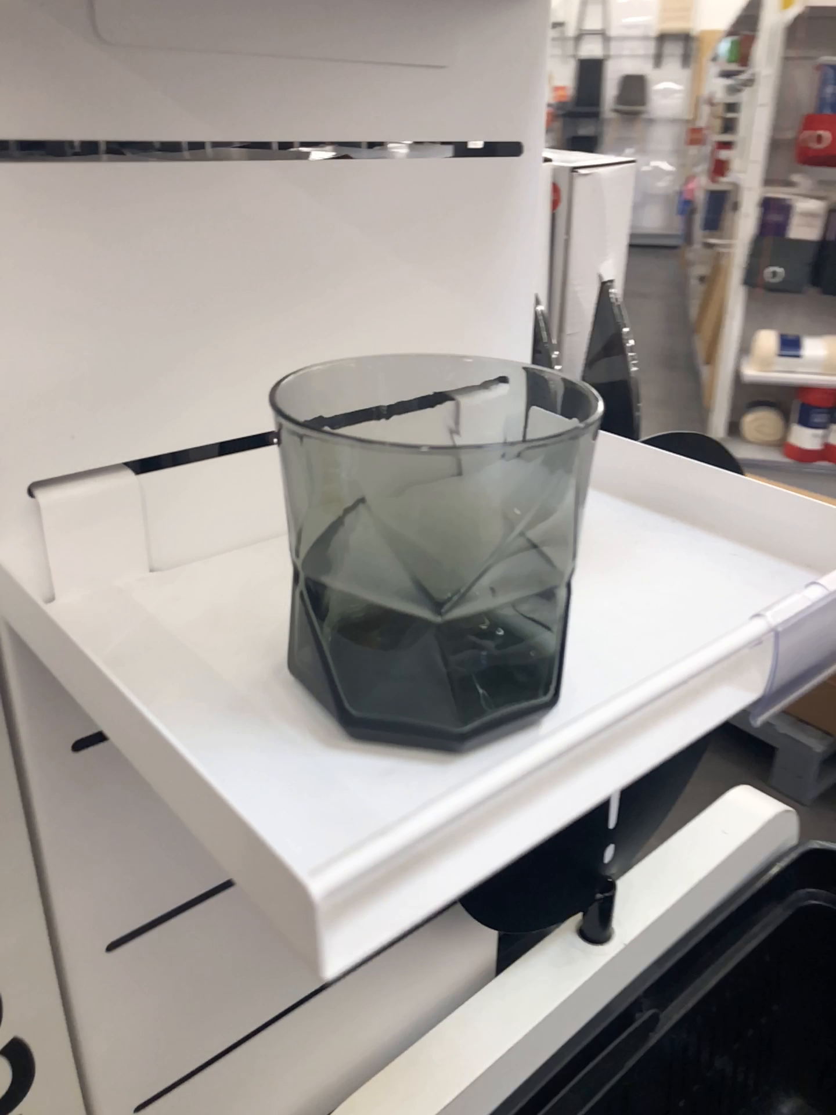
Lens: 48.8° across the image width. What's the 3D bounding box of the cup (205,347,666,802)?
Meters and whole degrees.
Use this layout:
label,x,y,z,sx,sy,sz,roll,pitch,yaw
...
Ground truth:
label,x,y,z,sx,sy,sz,roll,pitch,yaw
cup,0.008,-0.005,0.258,0.088,0.080,0.094,2,25,-1
